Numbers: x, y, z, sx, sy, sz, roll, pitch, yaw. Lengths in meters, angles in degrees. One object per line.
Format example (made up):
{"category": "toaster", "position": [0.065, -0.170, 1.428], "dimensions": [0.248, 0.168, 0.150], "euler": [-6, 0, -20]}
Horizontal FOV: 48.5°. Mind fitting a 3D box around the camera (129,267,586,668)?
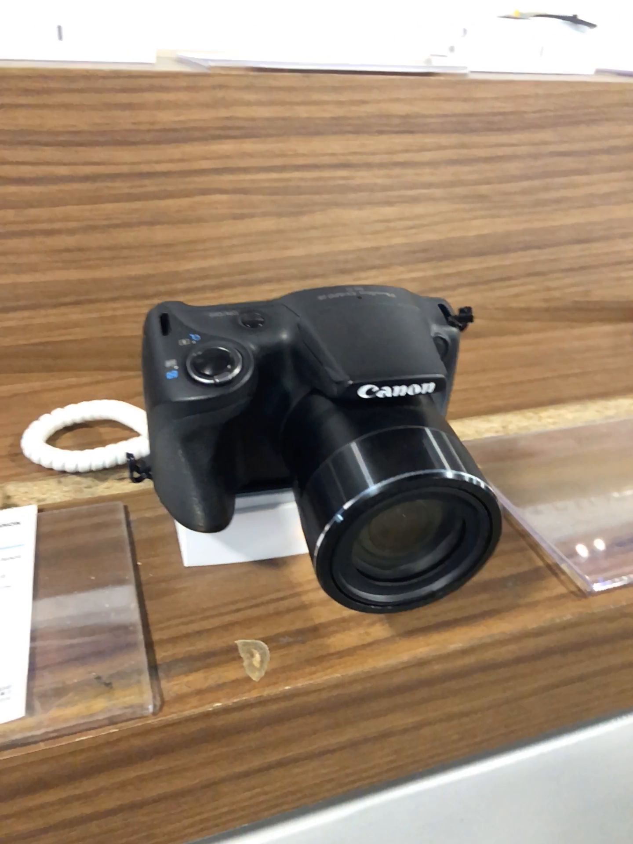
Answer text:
{"category": "camera", "position": [0.003, 0.003, 0.209], "dimensions": [0.100, 0.070, 0.091], "euler": [-7, 29, -16]}
